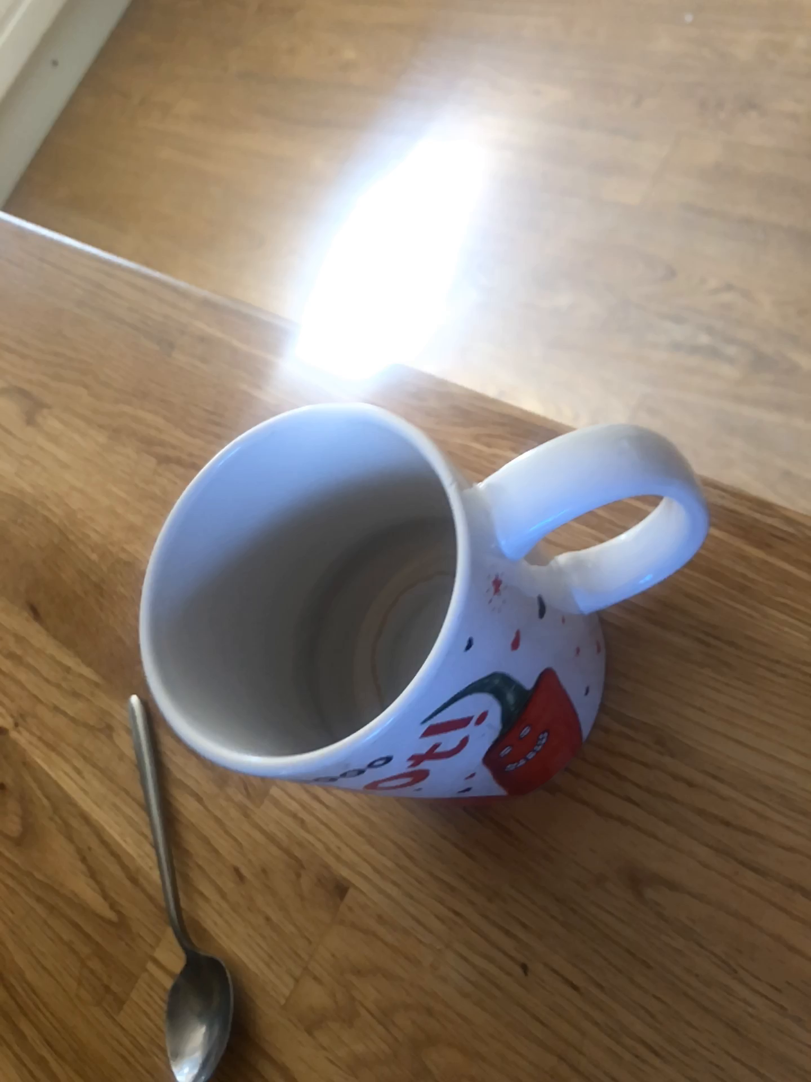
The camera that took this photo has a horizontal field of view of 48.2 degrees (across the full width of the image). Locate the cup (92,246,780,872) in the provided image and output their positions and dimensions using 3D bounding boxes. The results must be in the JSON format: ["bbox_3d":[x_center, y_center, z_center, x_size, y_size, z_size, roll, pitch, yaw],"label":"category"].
[{"bbox_3d":[0.010,0.020,0.252,0.136,0.110,0.097,-27,61,17],"label":"cup"}]
